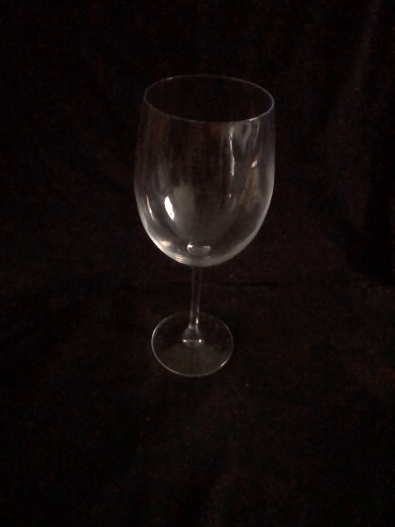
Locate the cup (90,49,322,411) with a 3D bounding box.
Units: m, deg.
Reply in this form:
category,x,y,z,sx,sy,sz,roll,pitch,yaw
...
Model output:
category,x,y,z,sx,sy,sz,roll,pitch,yaw
cup,0.004,-0.012,0.362,0.103,0.266,0.100,1,43,-1
